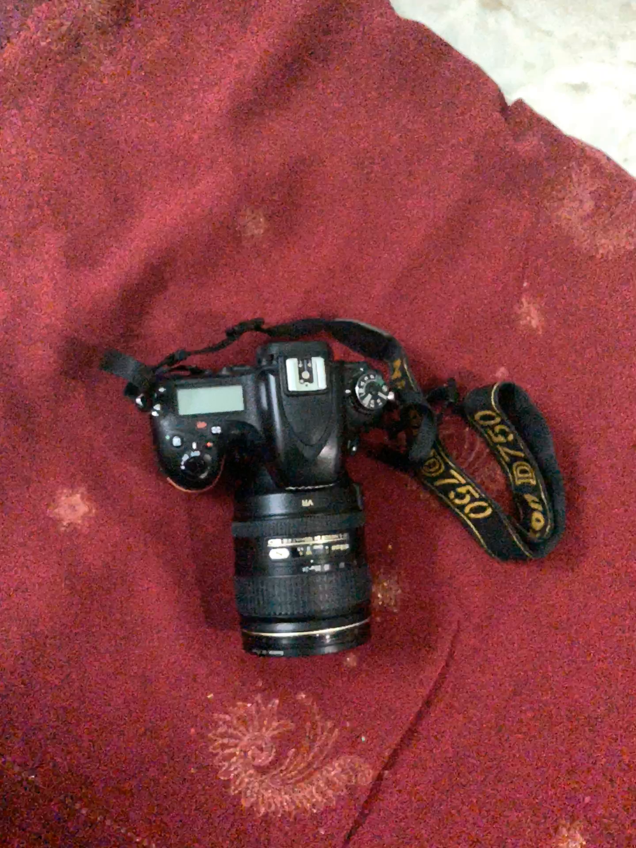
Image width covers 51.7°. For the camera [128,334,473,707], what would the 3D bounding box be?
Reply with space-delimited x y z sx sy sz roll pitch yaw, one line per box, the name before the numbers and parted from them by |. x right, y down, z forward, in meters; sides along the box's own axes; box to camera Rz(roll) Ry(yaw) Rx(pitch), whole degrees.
camera | -0.016 0.046 0.360 0.150 0.110 0.160 -3 83 -9
